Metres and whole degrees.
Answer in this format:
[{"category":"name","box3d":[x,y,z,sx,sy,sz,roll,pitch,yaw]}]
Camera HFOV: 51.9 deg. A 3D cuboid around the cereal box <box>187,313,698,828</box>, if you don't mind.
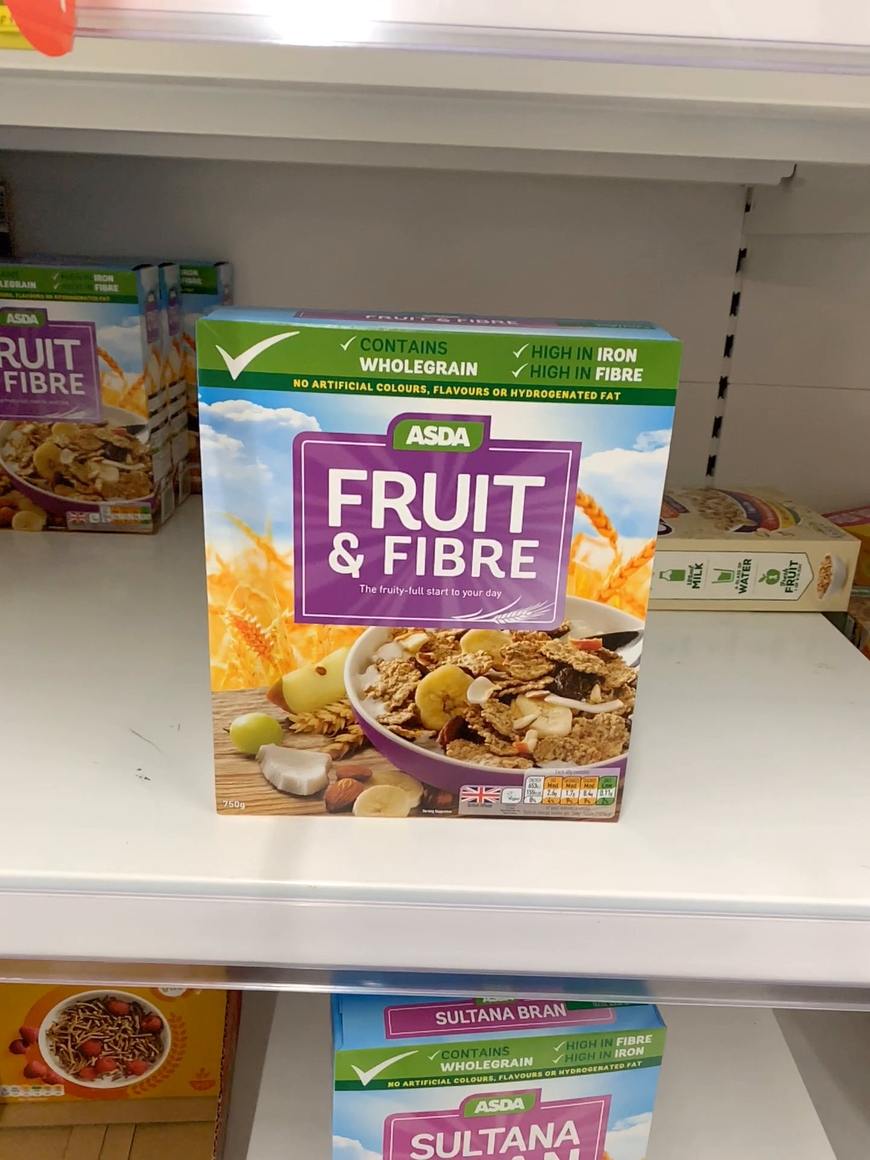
[{"category":"cereal box","box3d":[-0.002,-0.002,0.483,0.230,0.258,0.081,2,20,-2]}]
